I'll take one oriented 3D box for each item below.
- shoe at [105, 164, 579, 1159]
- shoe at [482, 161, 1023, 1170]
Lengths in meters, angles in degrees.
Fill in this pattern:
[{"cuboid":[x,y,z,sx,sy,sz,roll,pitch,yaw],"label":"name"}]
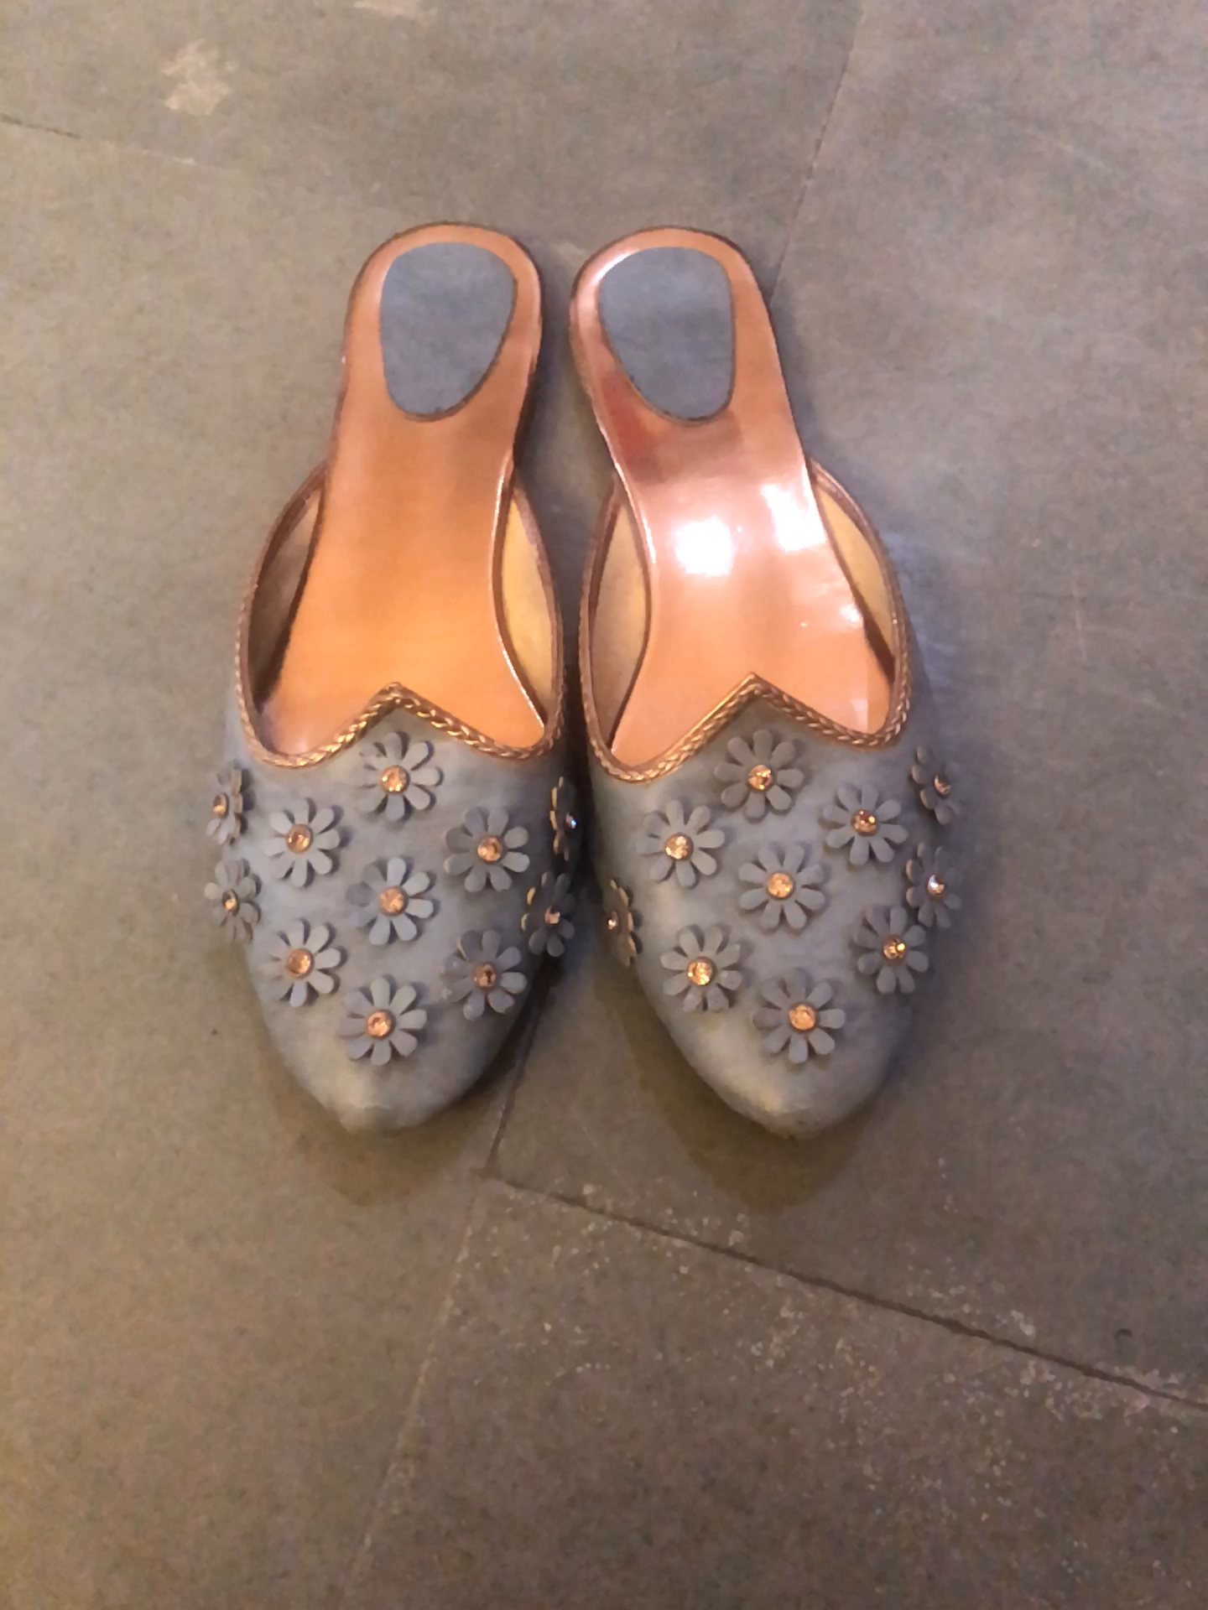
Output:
[{"cuboid":[-0.058,-0.047,0.360,0.100,0.050,0.270,-1,70,1],"label":"shoe"},{"cuboid":[0.029,-0.047,0.365,0.100,0.050,0.270,-6,70,-1],"label":"shoe"}]
